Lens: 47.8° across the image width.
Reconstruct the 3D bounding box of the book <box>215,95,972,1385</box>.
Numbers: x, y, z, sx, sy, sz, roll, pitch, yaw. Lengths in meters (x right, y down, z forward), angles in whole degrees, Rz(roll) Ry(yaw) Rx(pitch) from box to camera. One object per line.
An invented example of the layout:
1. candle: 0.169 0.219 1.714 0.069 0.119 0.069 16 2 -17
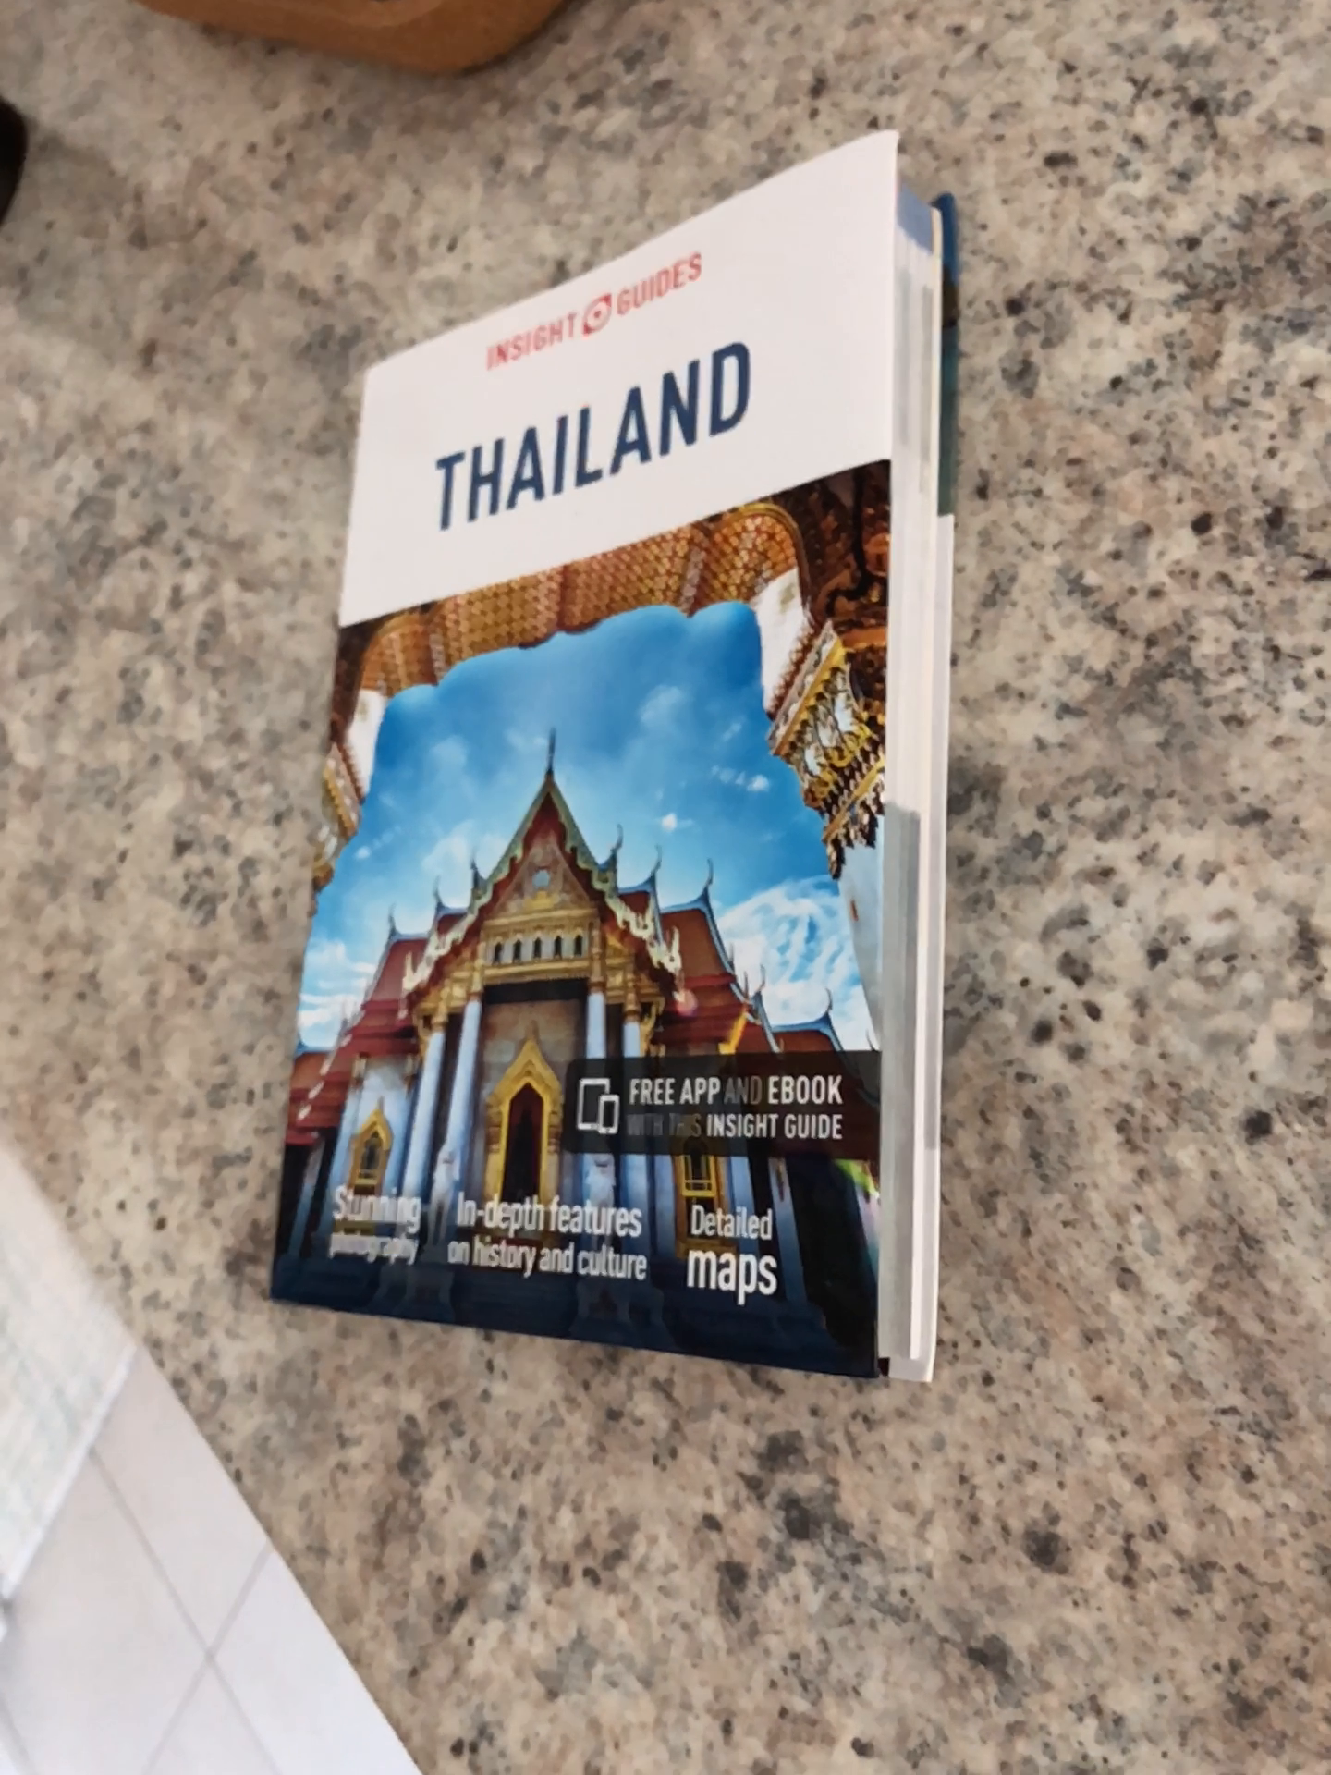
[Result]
1. book: -0.018 -0.027 0.324 0.164 0.030 0.240 -8 71 38
